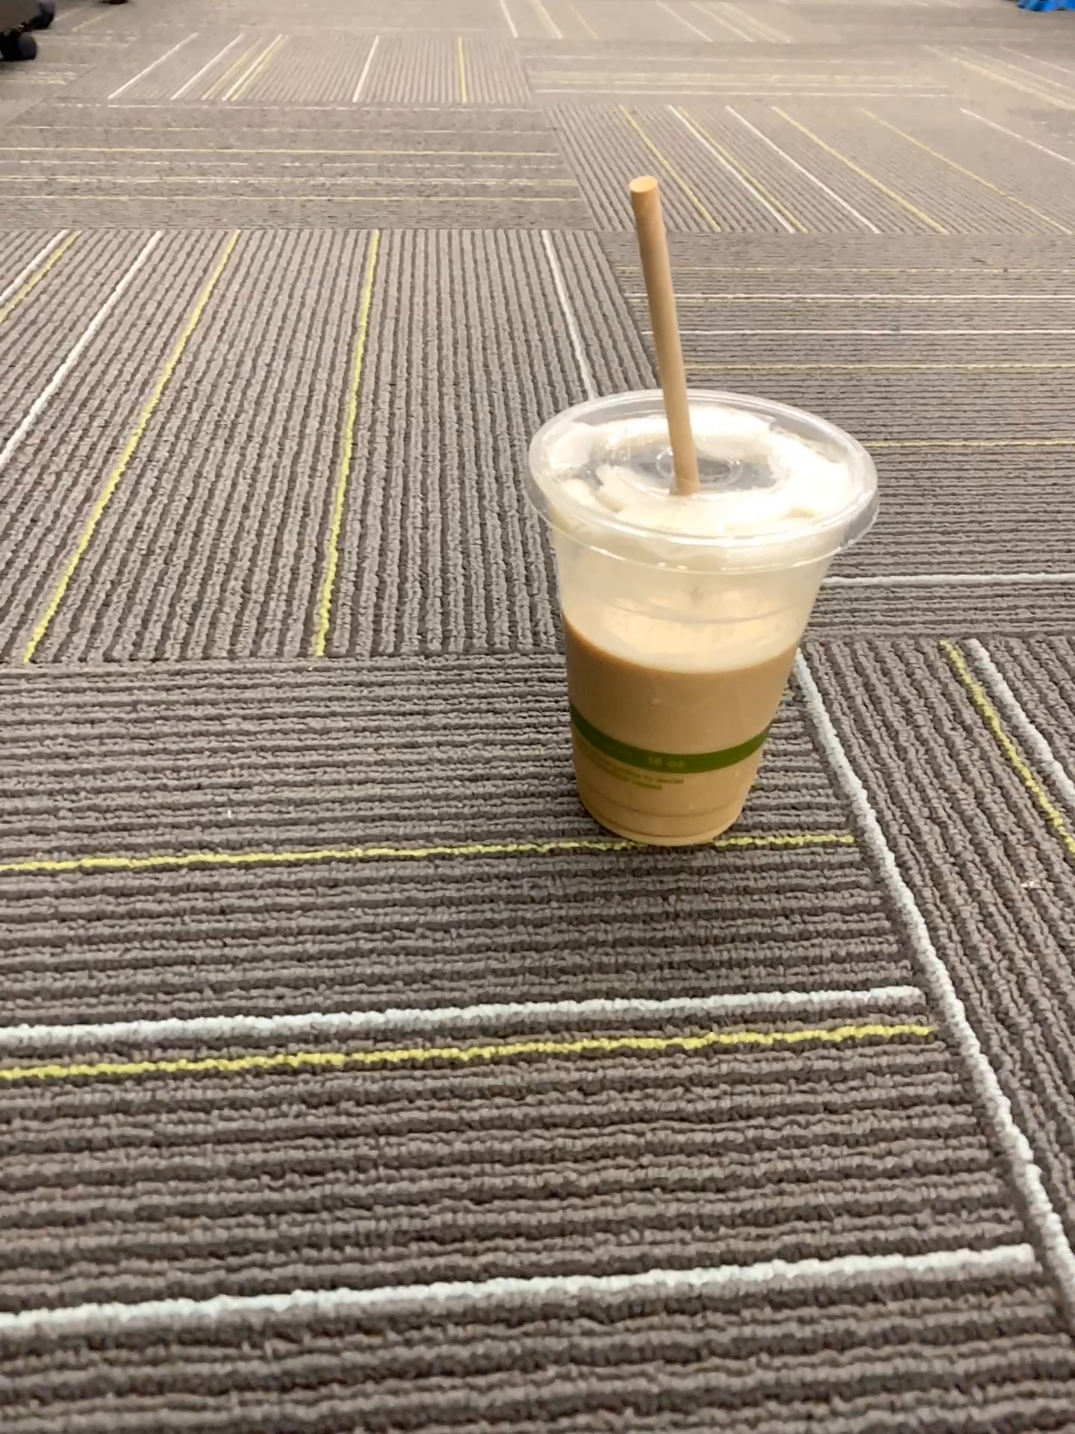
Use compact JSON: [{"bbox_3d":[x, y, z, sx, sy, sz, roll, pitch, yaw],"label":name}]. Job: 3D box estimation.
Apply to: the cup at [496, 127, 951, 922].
[{"bbox_3d":[0.045,-0.049,0.310,0.090,0.189,0.090,1,38,0],"label":"cup"}]
